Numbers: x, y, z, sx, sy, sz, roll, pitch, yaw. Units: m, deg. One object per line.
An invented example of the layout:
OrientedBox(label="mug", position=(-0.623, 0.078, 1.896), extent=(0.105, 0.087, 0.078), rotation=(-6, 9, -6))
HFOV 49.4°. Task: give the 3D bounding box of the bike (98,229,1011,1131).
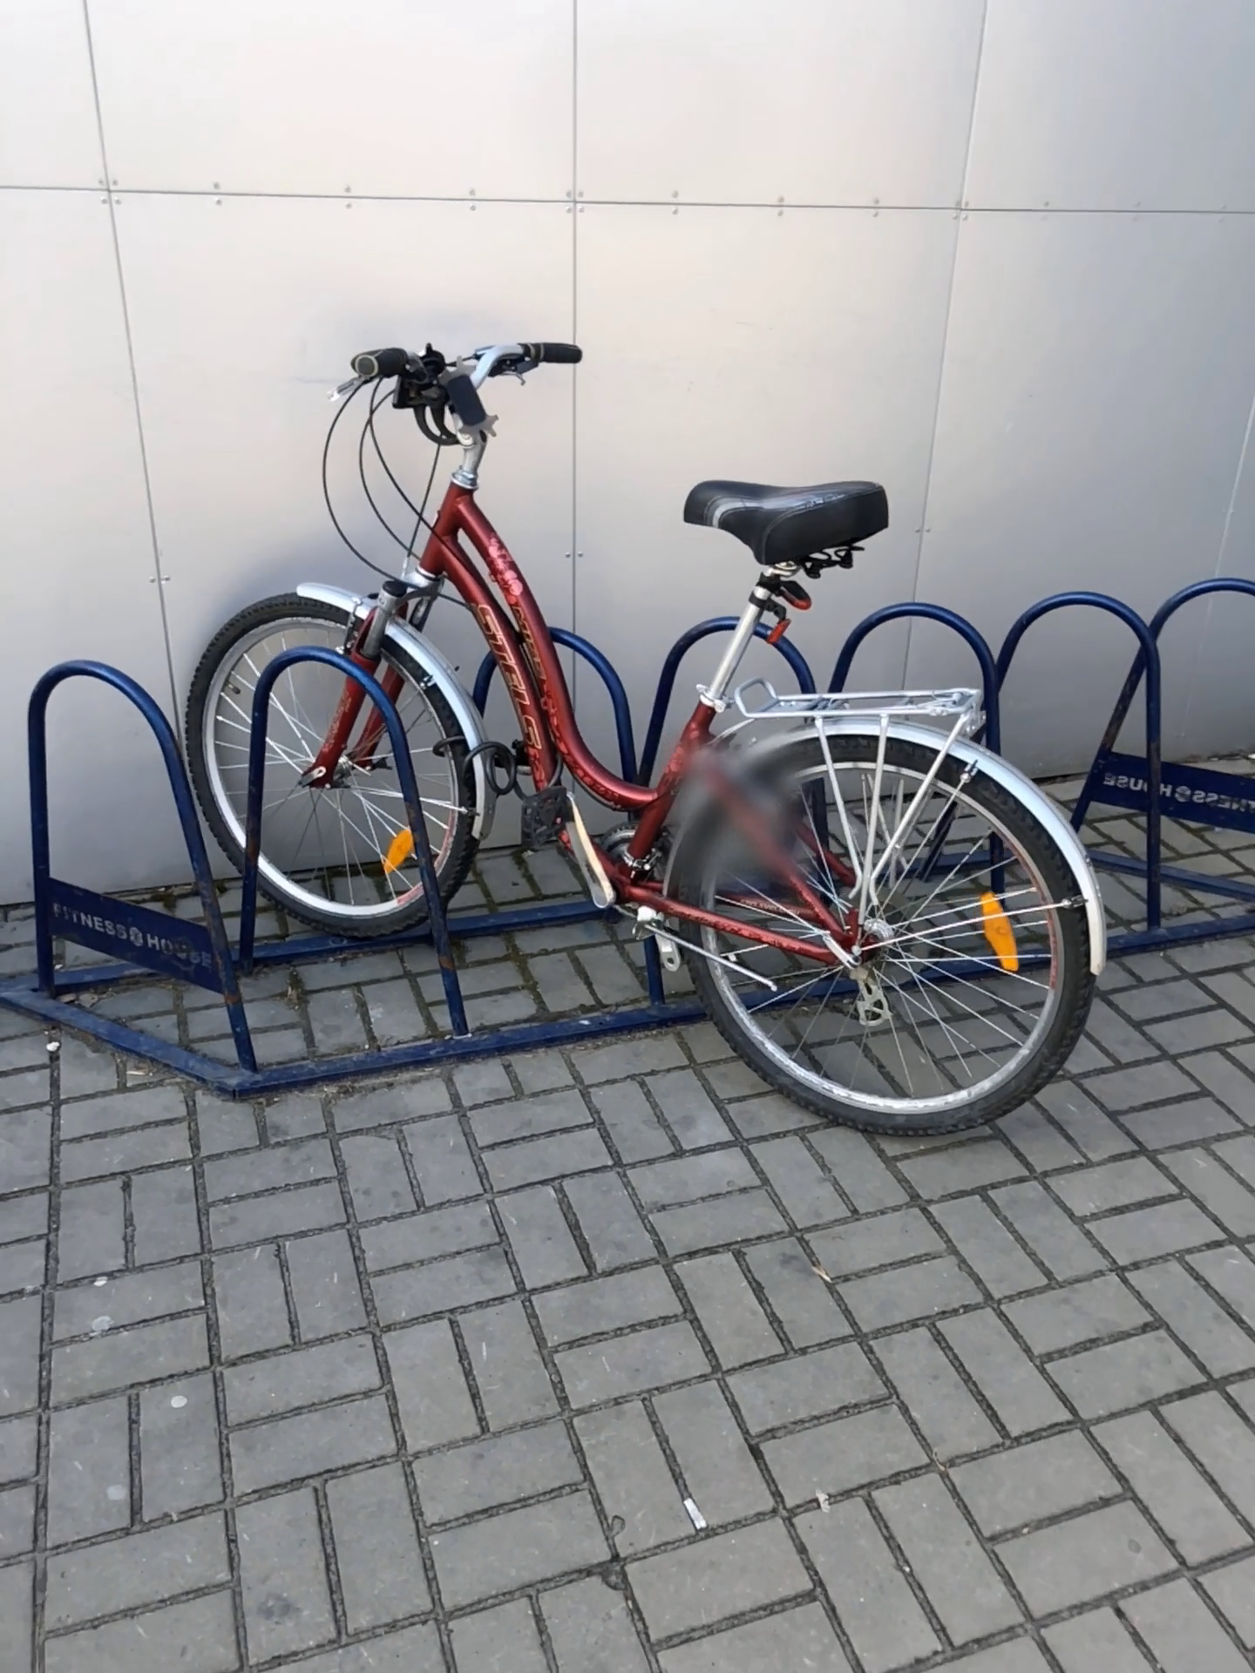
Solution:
OrientedBox(label="bike", position=(-0.135, -0.358, 2.254), extent=(1.307, 0.972, 0.598), rotation=(20, 31, 25))
